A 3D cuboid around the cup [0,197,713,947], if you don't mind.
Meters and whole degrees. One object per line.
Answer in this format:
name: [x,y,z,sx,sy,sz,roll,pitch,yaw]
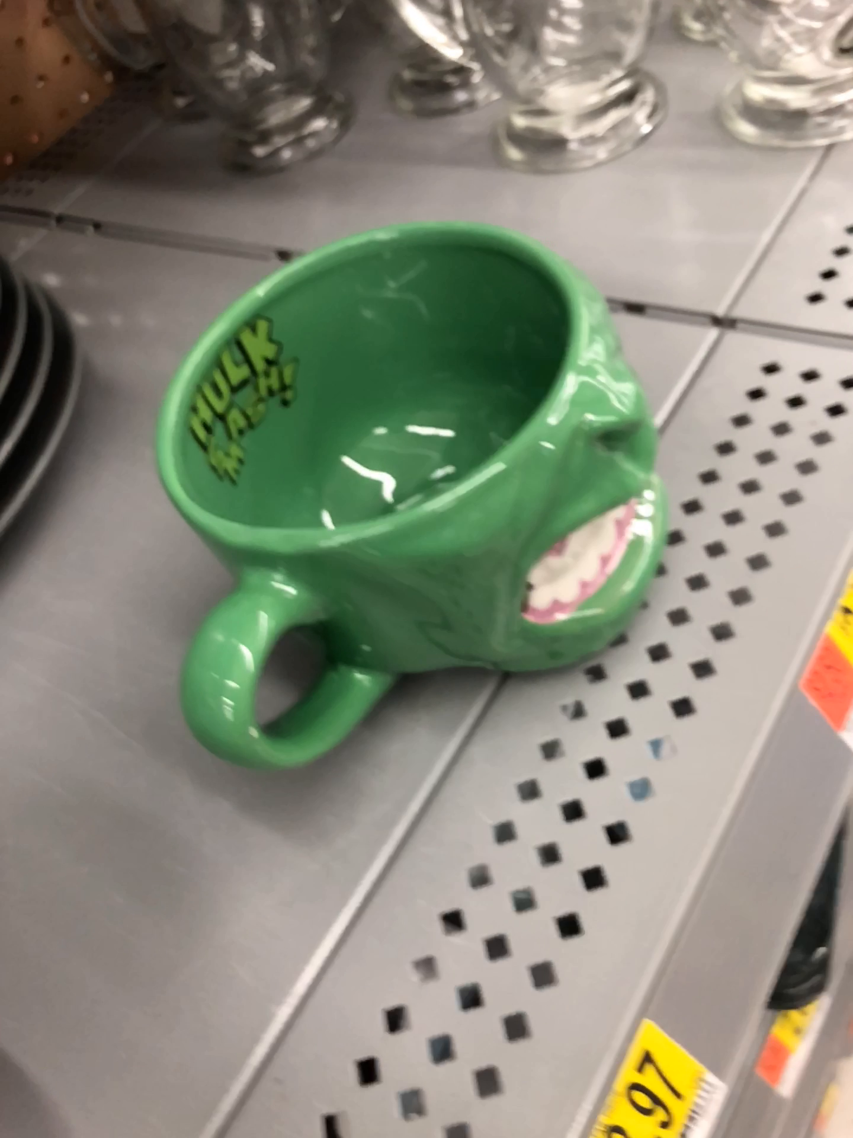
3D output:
cup: [-0.010,-0.010,0.251,0.116,0.089,0.148,17,60,29]
